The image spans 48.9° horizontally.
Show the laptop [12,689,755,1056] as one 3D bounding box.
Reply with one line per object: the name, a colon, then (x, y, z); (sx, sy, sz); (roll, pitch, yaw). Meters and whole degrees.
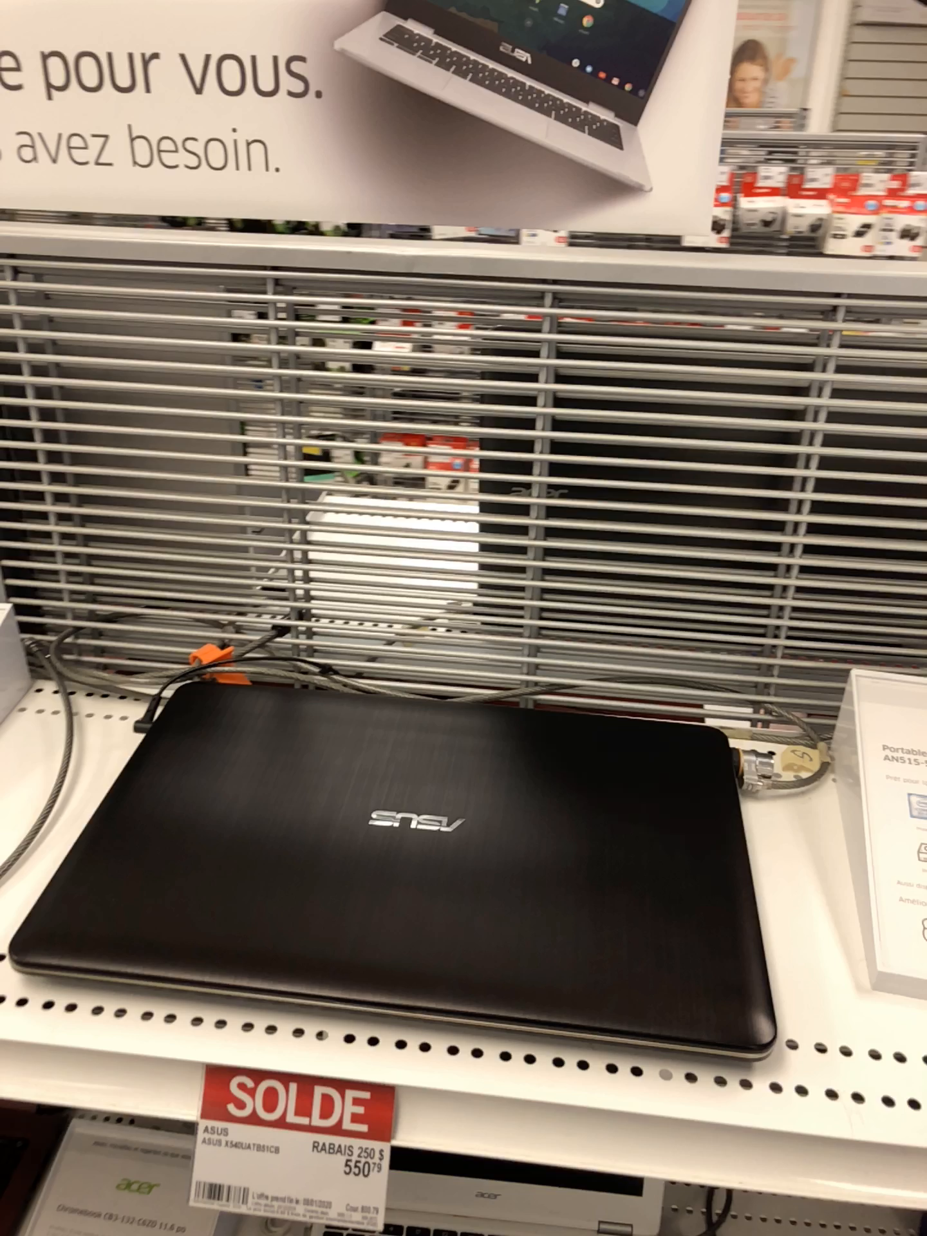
laptop: (-0.027, 0.131, 0.602); (0.367, 0.013, 0.235); (5, 31, 4)
